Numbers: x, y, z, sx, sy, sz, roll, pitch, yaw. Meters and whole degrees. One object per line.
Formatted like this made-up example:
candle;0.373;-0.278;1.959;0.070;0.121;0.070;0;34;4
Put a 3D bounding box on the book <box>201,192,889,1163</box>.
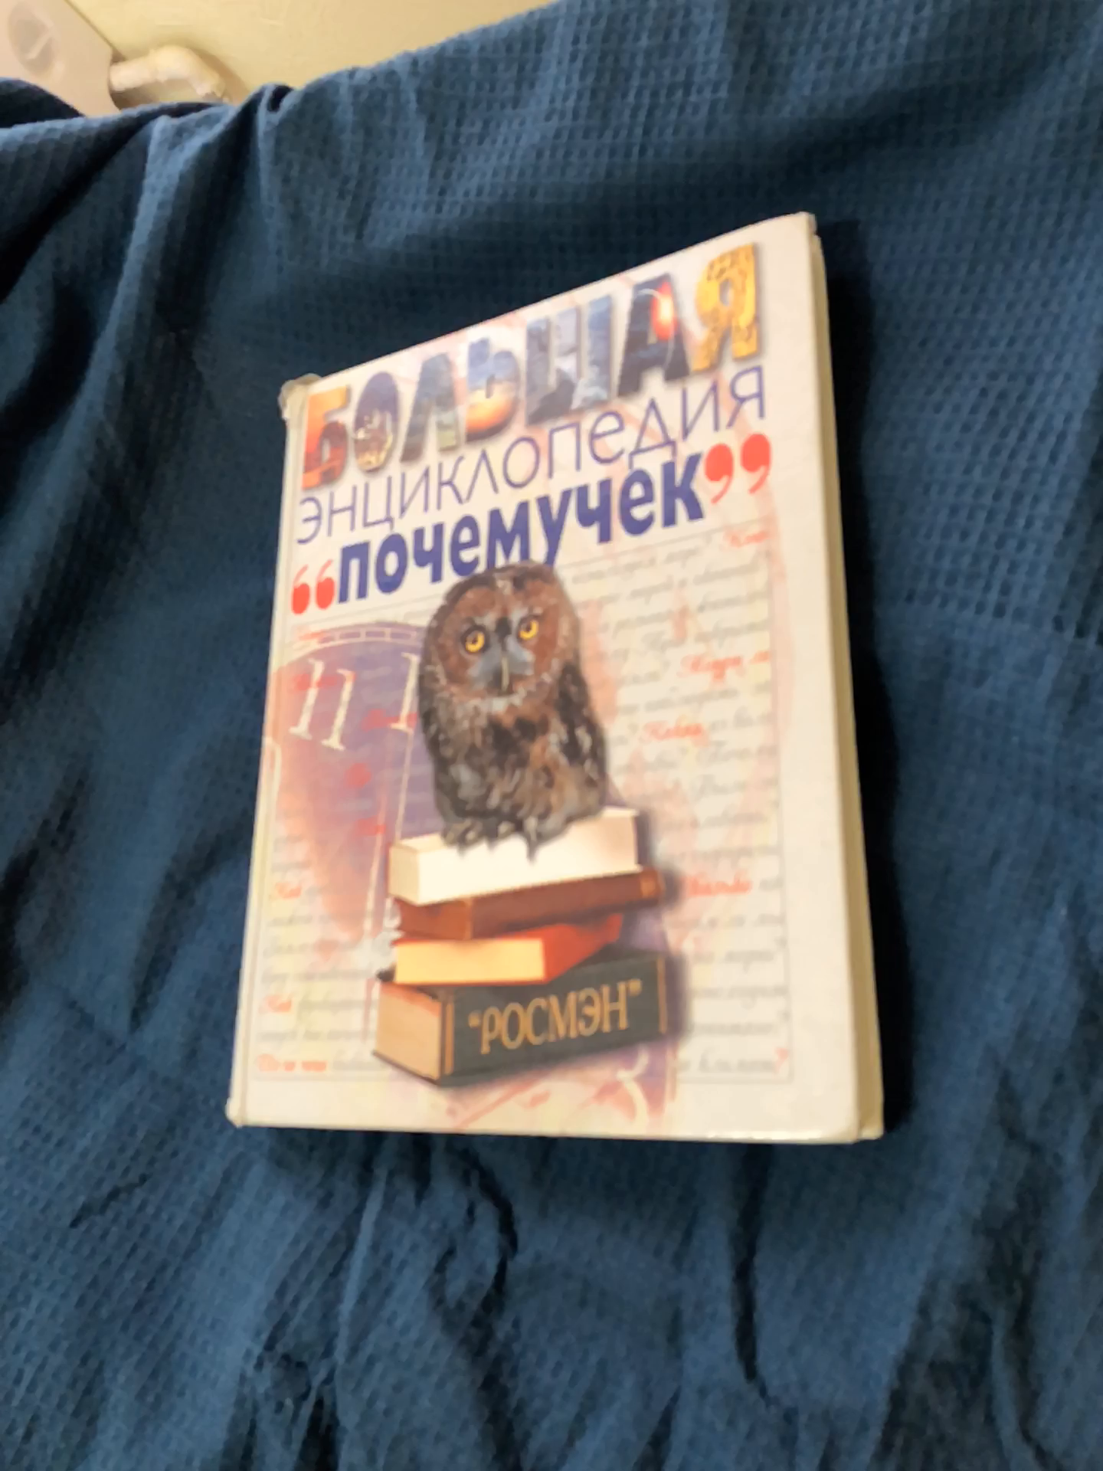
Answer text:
book;-0.013;-0.016;0.424;0.235;0.030;0.305;-9;71;29
